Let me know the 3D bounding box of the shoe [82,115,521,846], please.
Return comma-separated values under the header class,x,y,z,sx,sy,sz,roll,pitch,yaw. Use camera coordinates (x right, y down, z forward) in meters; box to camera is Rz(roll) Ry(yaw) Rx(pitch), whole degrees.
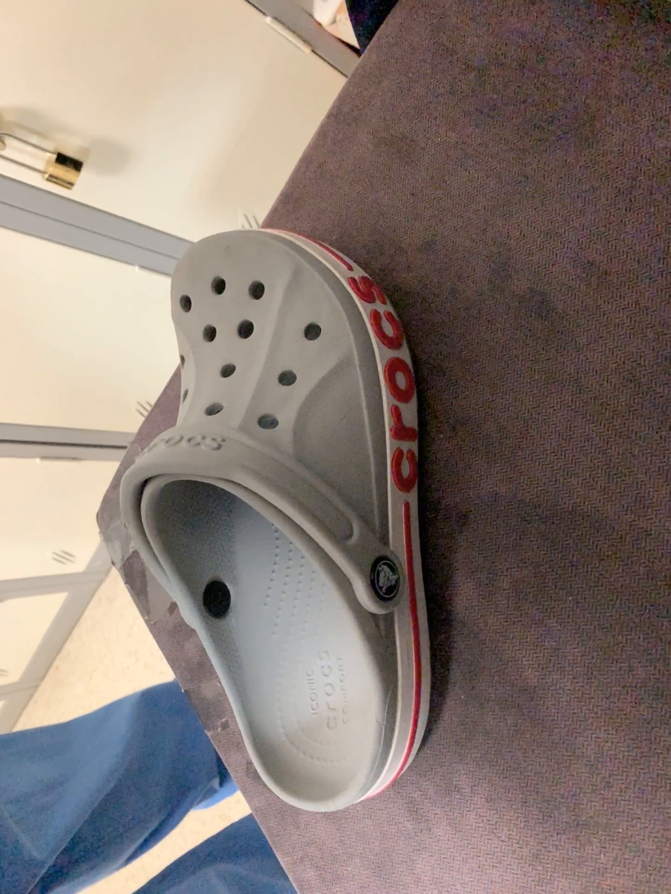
class,x,y,z,sx,sy,sz,roll,pitch,yaw
shoe,-0.024,0.015,0.283,0.119,0.075,0.239,-21,74,36
